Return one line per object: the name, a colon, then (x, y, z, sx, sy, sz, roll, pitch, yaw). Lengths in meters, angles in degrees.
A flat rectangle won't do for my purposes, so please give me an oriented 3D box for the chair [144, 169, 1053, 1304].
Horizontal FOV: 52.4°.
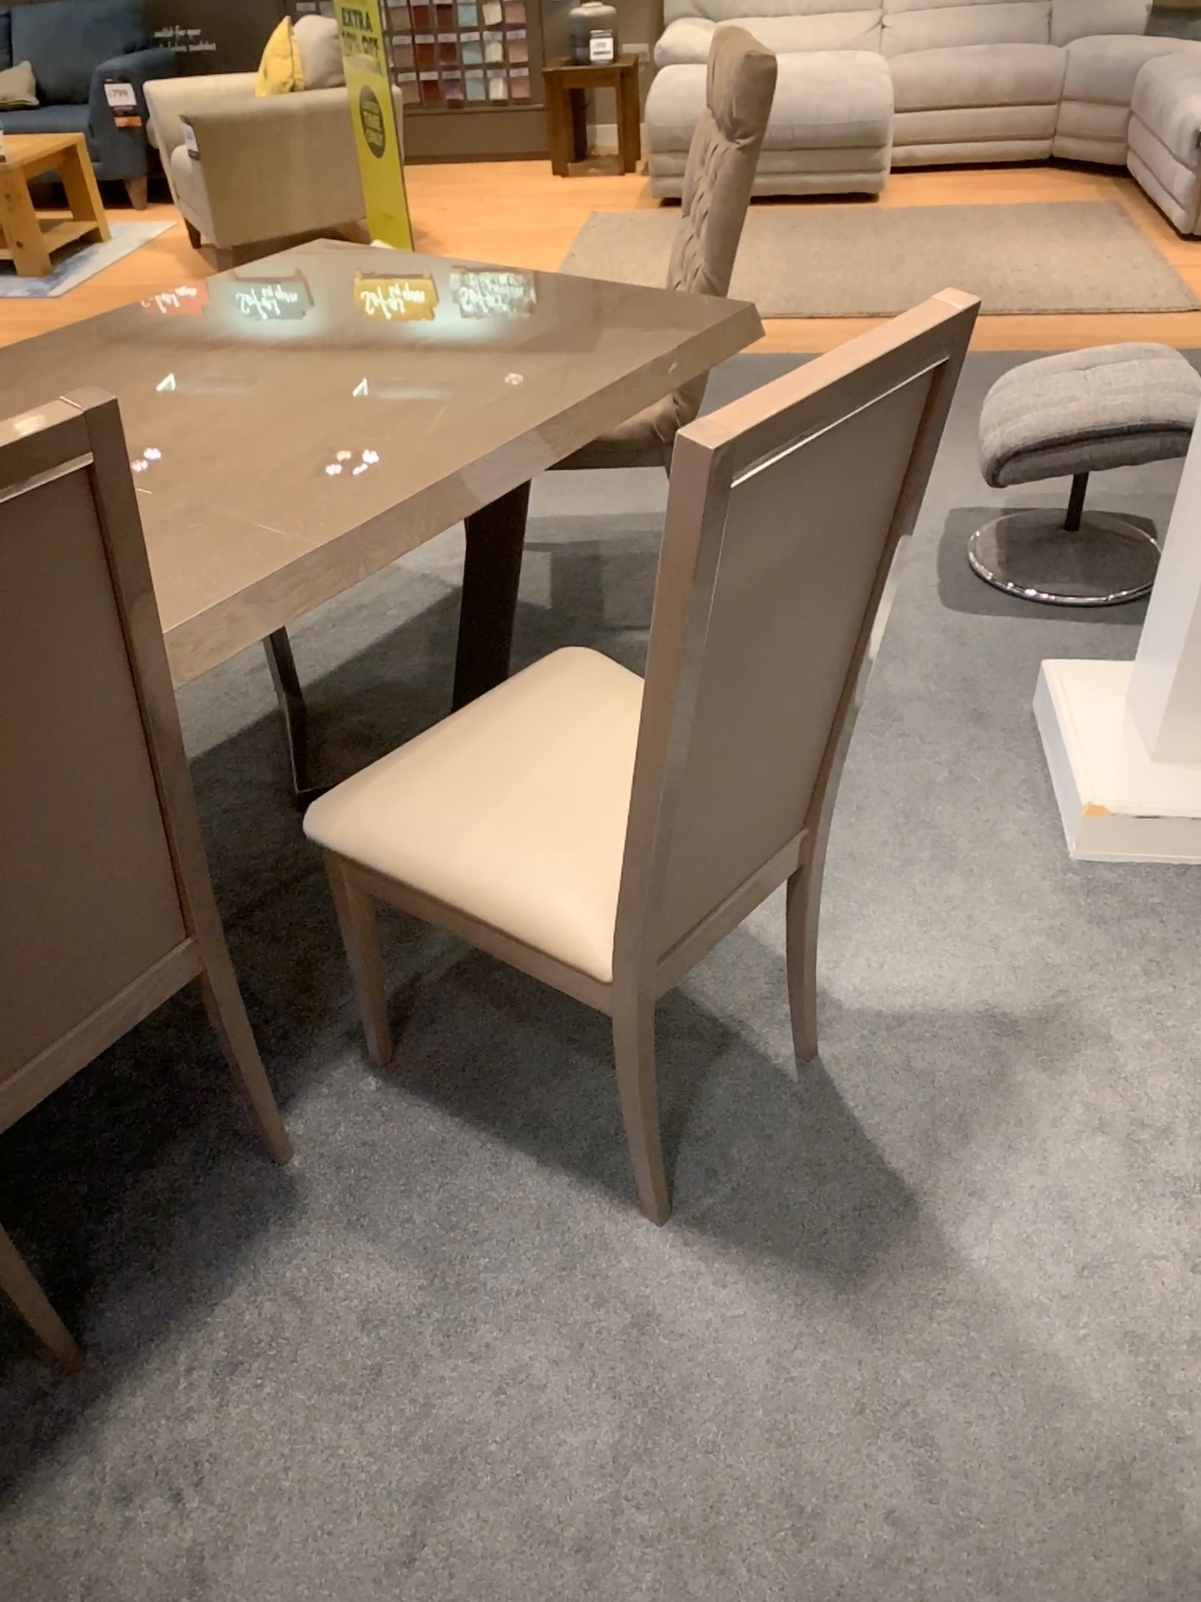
chair: (0.007, -0.065, 1.334, 0.584, 0.976, 0.500, 27, 47, 31)
